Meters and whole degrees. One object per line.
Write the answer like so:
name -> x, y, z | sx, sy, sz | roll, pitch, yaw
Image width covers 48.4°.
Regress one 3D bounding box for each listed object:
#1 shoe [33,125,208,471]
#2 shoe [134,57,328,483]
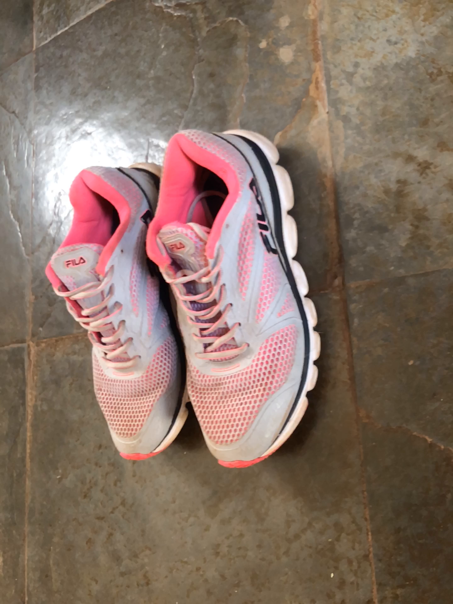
shoe -> -0.101, 0.001, 0.473 | 0.110, 0.100, 0.280 | -10, 80, 33
shoe -> 0.003, -0.020, 0.410 | 0.110, 0.100, 0.290 | -6, 82, 33
